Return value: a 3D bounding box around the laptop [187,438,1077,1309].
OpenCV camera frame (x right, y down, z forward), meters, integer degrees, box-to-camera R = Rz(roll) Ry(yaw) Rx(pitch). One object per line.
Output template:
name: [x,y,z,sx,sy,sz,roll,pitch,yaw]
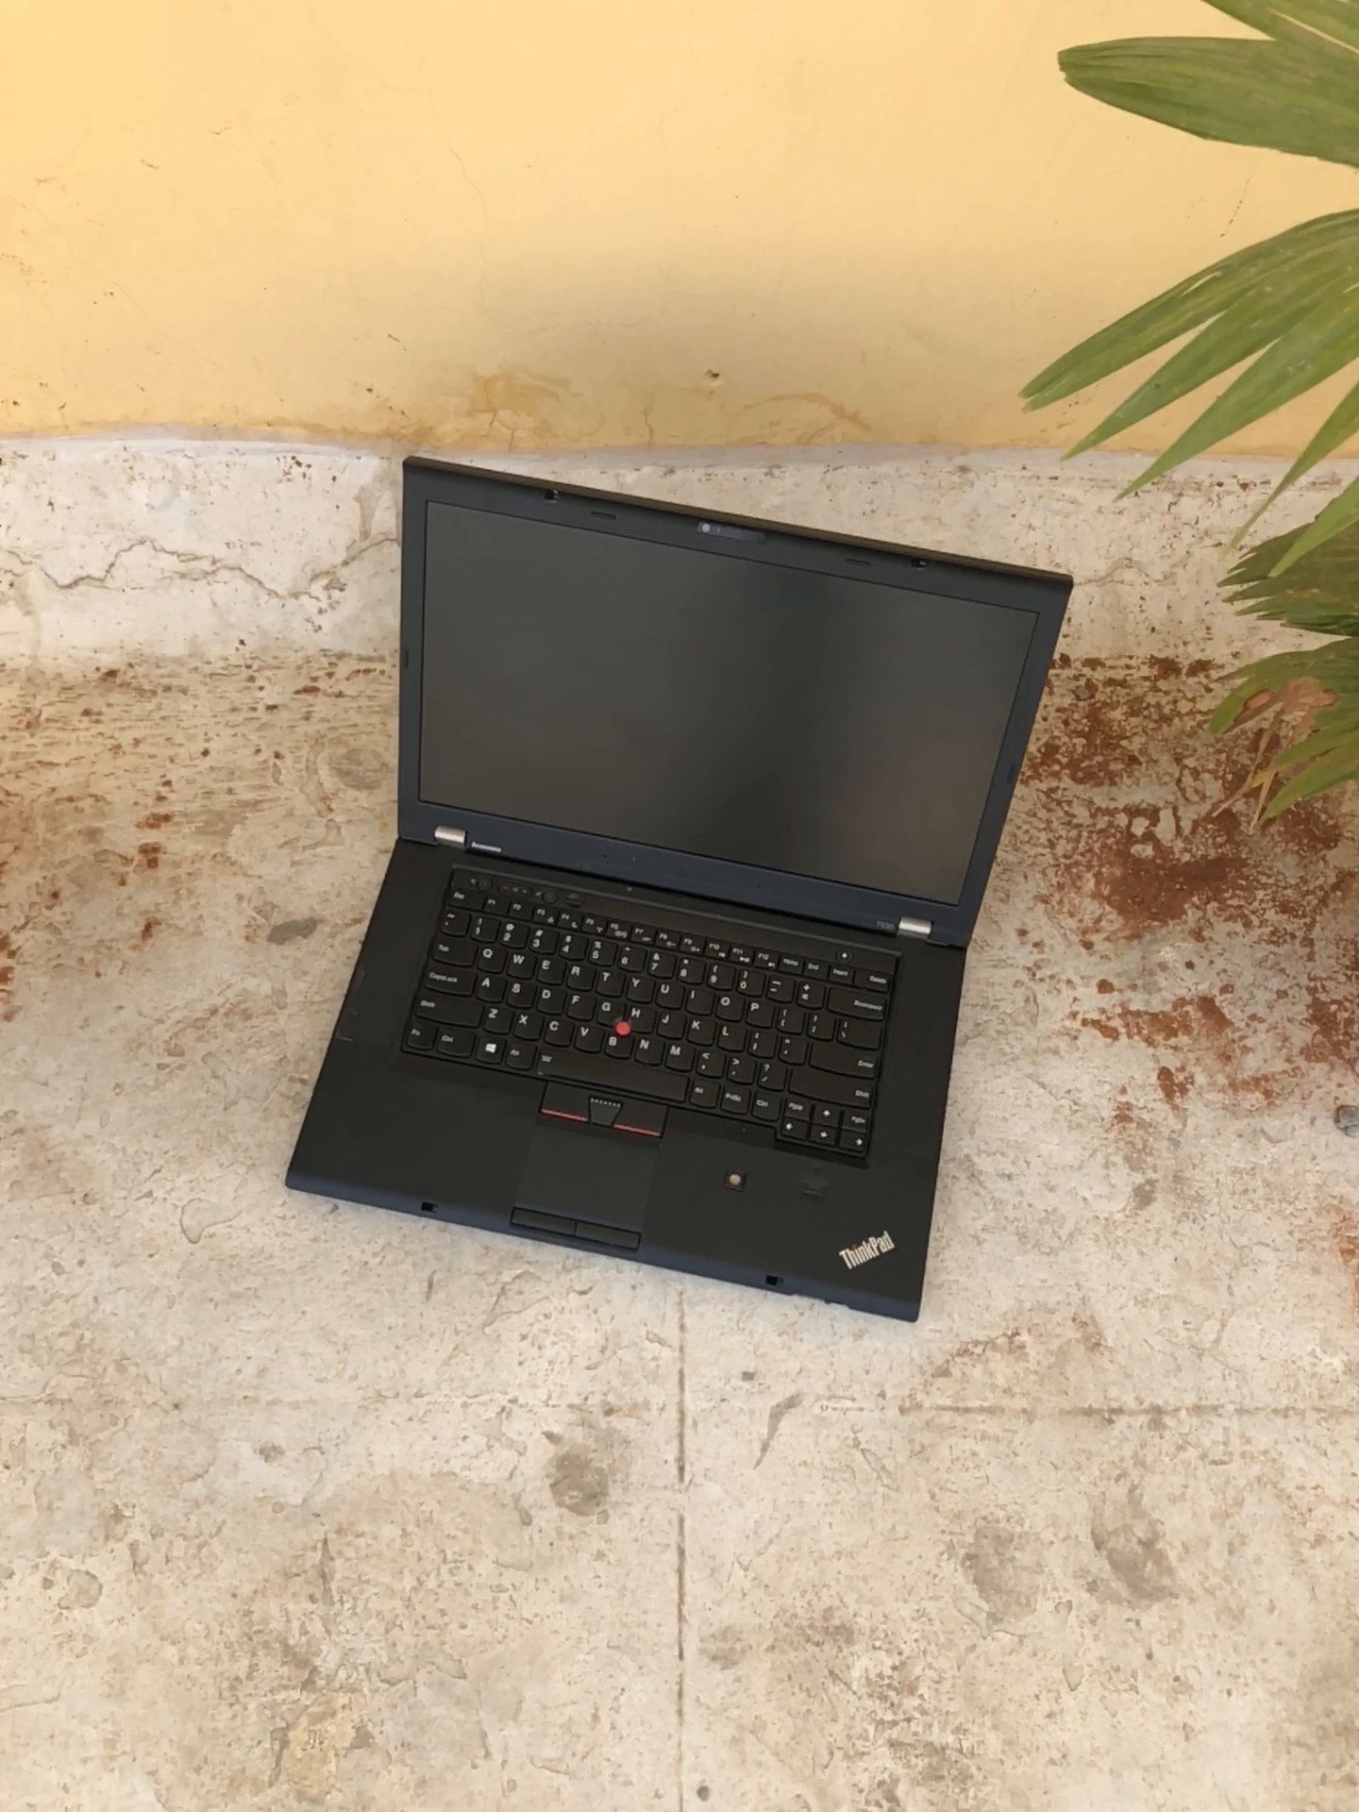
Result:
laptop: [-0.007,-0.016,0.818,0.360,0.209,0.353,11,65,5]
